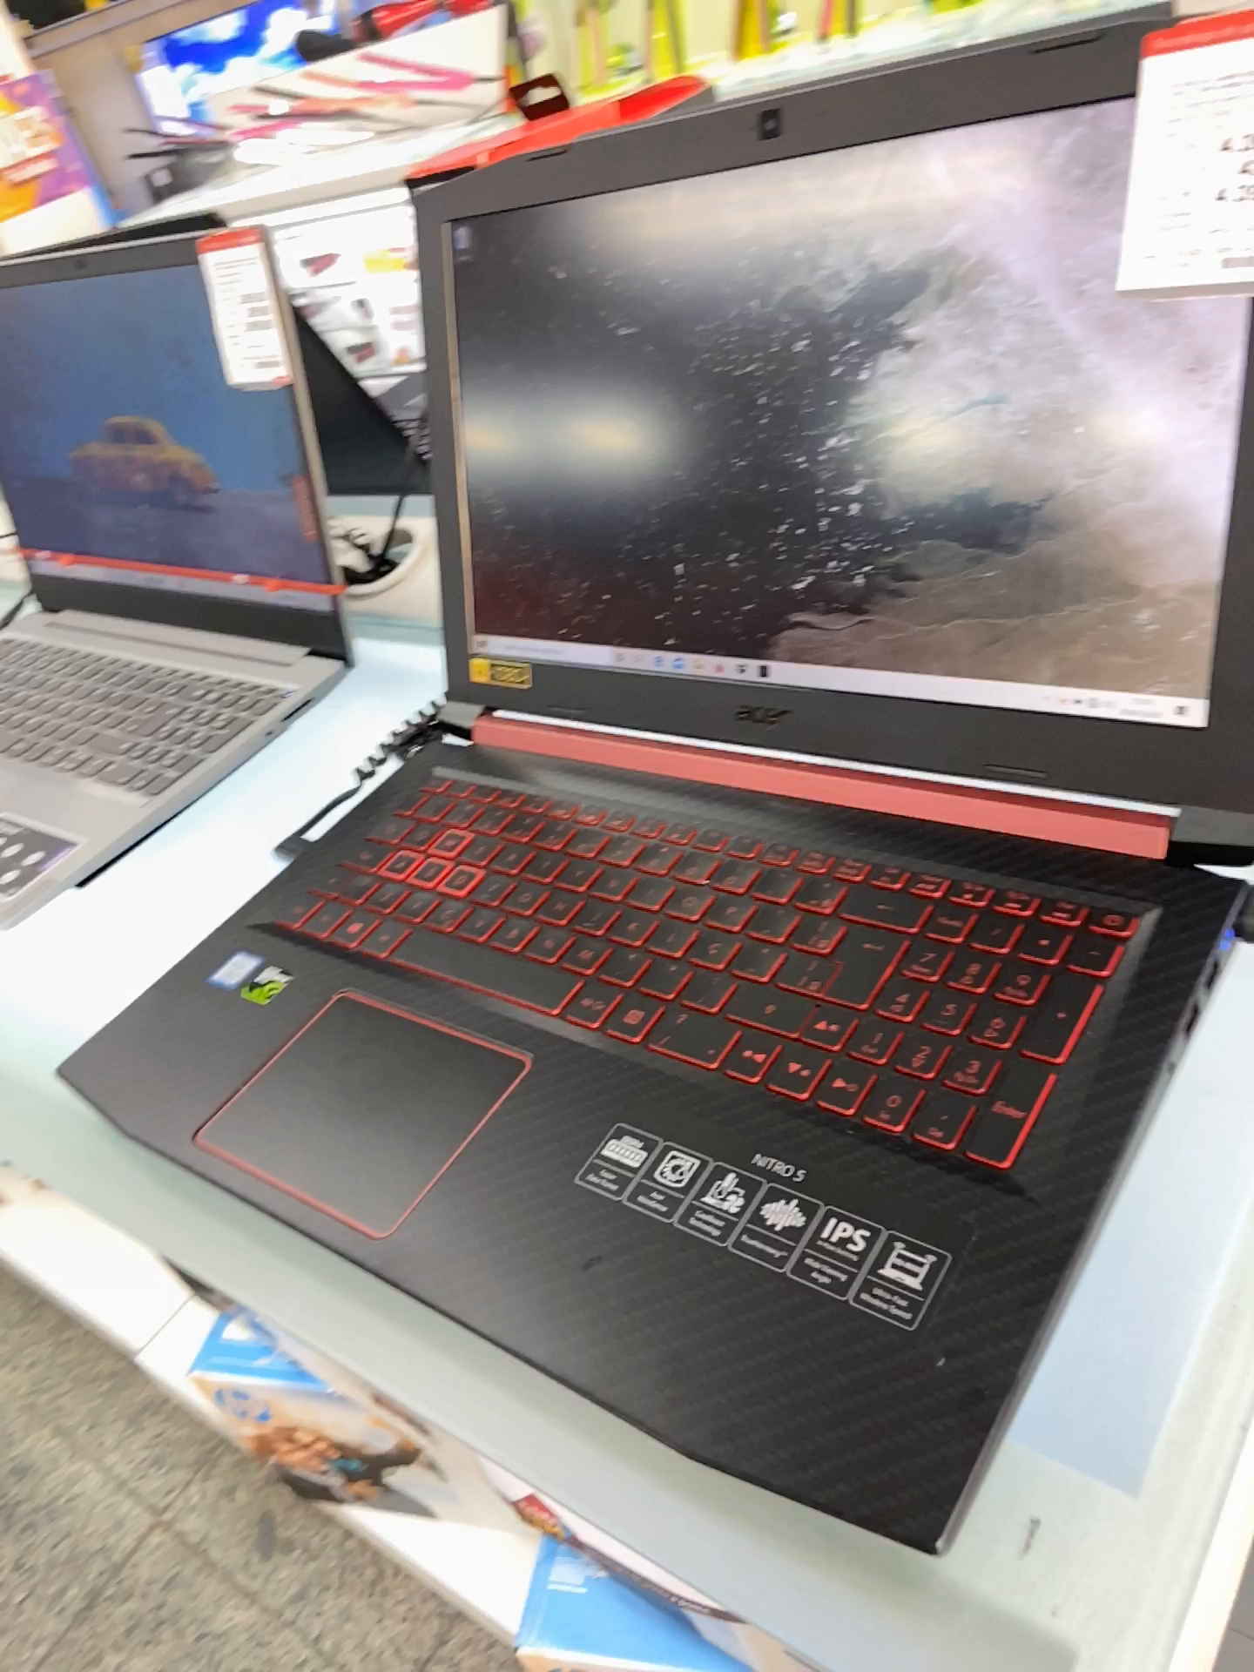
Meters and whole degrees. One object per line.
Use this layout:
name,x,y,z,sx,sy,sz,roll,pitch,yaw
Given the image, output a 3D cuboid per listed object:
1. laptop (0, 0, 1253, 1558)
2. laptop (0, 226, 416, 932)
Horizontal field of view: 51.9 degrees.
laptop,-0.013,-0.071,0.438,0.388,0.218,0.361,11,46,38
laptop,-0.394,-0.175,0.774,0.355,0.225,0.323,12,46,36
